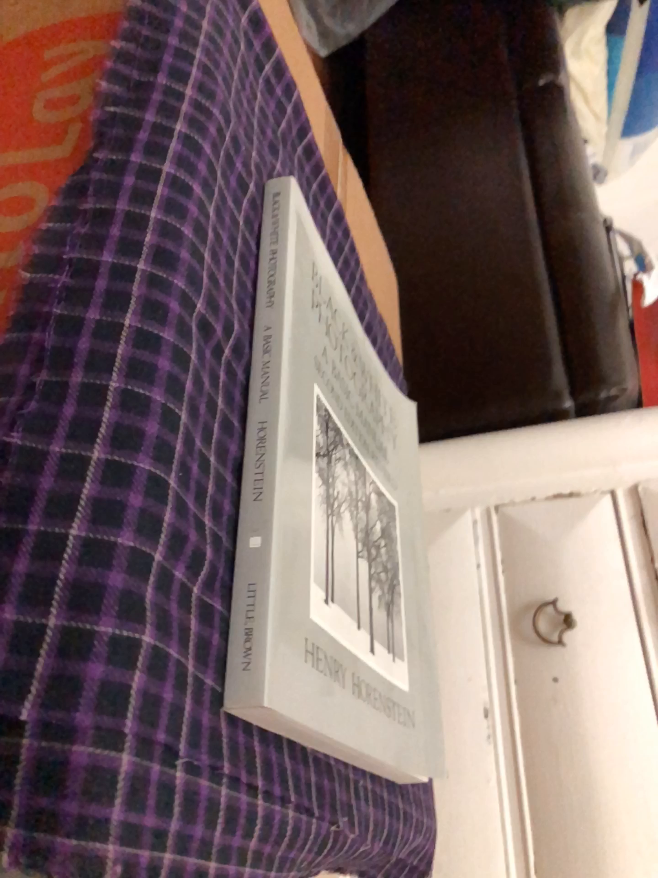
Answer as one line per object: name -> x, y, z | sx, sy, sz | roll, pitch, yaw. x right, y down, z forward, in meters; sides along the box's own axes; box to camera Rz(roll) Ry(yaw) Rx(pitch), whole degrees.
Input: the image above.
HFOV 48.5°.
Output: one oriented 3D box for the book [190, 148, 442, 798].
book -> 0.010, 0.027, 0.360 | 0.210, 0.030, 0.250 | 56, 29, -54
